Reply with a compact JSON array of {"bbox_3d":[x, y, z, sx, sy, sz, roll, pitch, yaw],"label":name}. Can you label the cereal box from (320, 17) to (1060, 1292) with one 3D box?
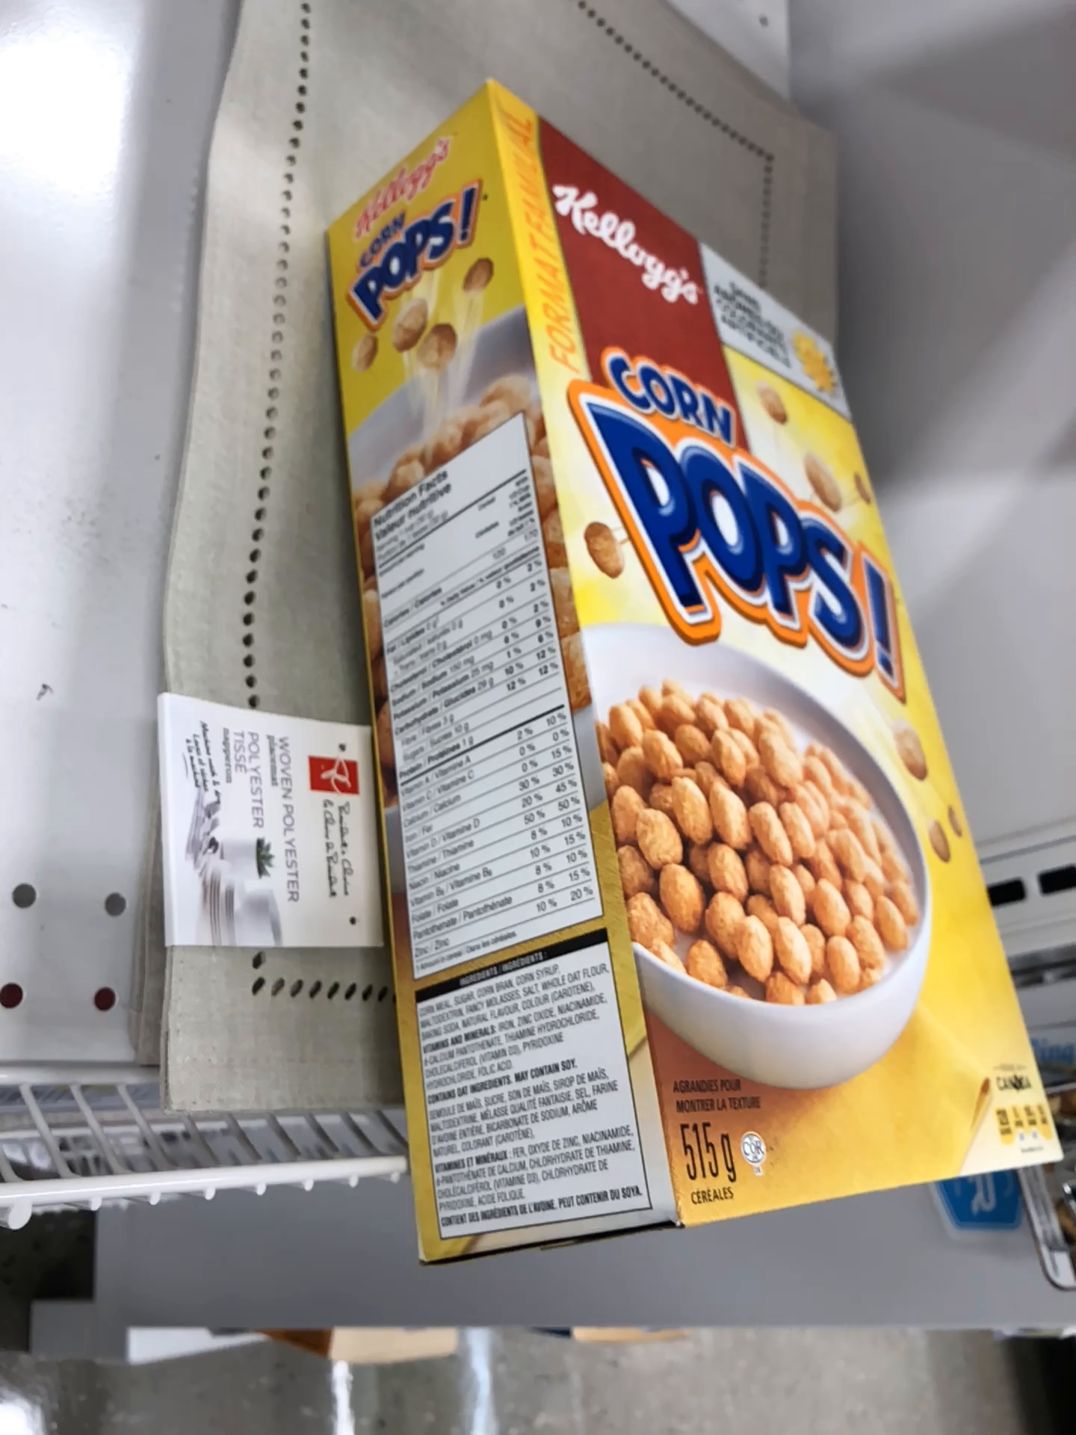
[{"bbox_3d":[0.050,-0.015,0.400,0.221,0.080,0.340,18,56,-48],"label":"cereal box"}]
